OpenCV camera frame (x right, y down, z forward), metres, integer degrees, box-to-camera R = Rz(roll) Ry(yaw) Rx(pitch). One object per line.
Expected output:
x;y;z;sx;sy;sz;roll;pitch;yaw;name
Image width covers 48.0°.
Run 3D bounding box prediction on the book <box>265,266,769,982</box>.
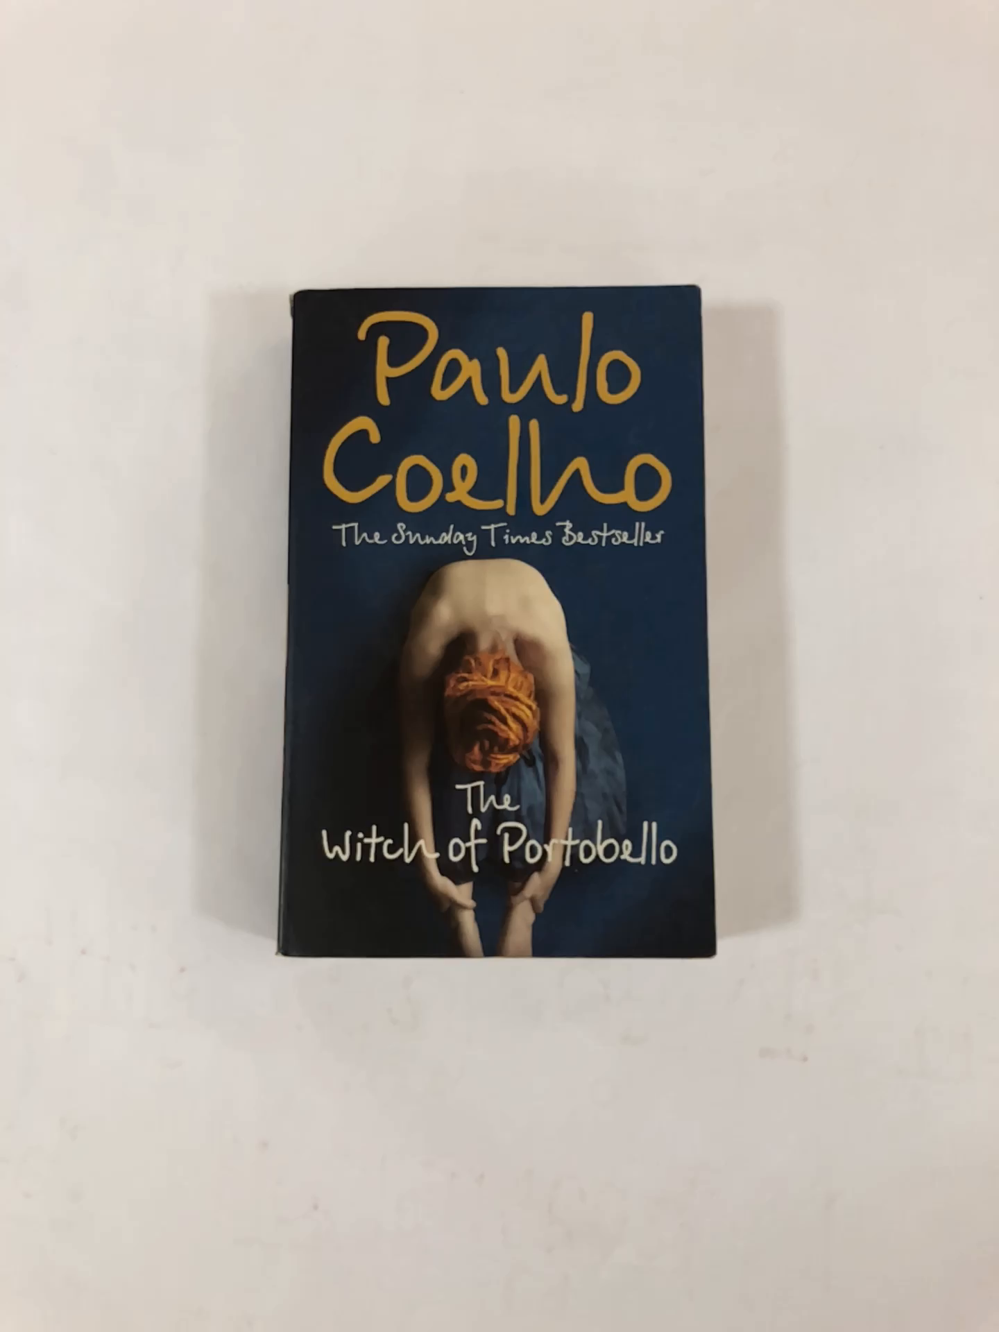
0.004;-0.012;0.293;0.120;0.030;0.180;0;83;0;book
